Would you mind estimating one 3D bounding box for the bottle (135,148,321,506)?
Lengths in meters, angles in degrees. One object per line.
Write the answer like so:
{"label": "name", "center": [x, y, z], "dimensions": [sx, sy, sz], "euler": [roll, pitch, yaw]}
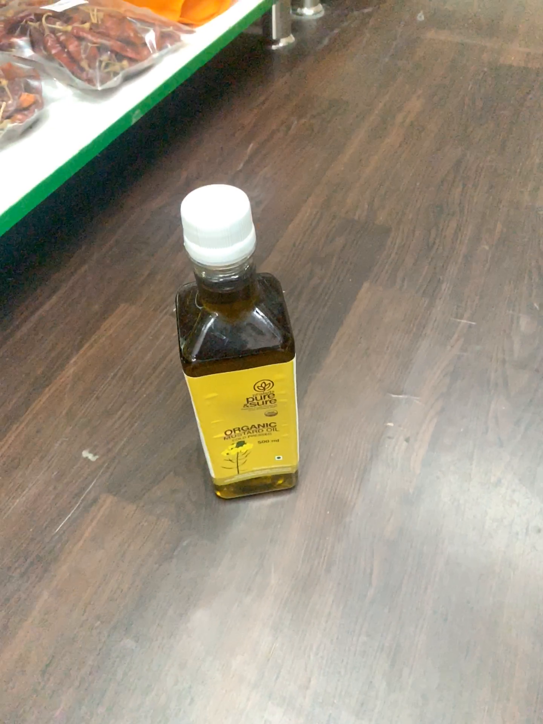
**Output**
{"label": "bottle", "center": [-0.016, -0.001, 0.310], "dimensions": [0.070, 0.209, 0.060], "euler": [-9, 50, -4]}
